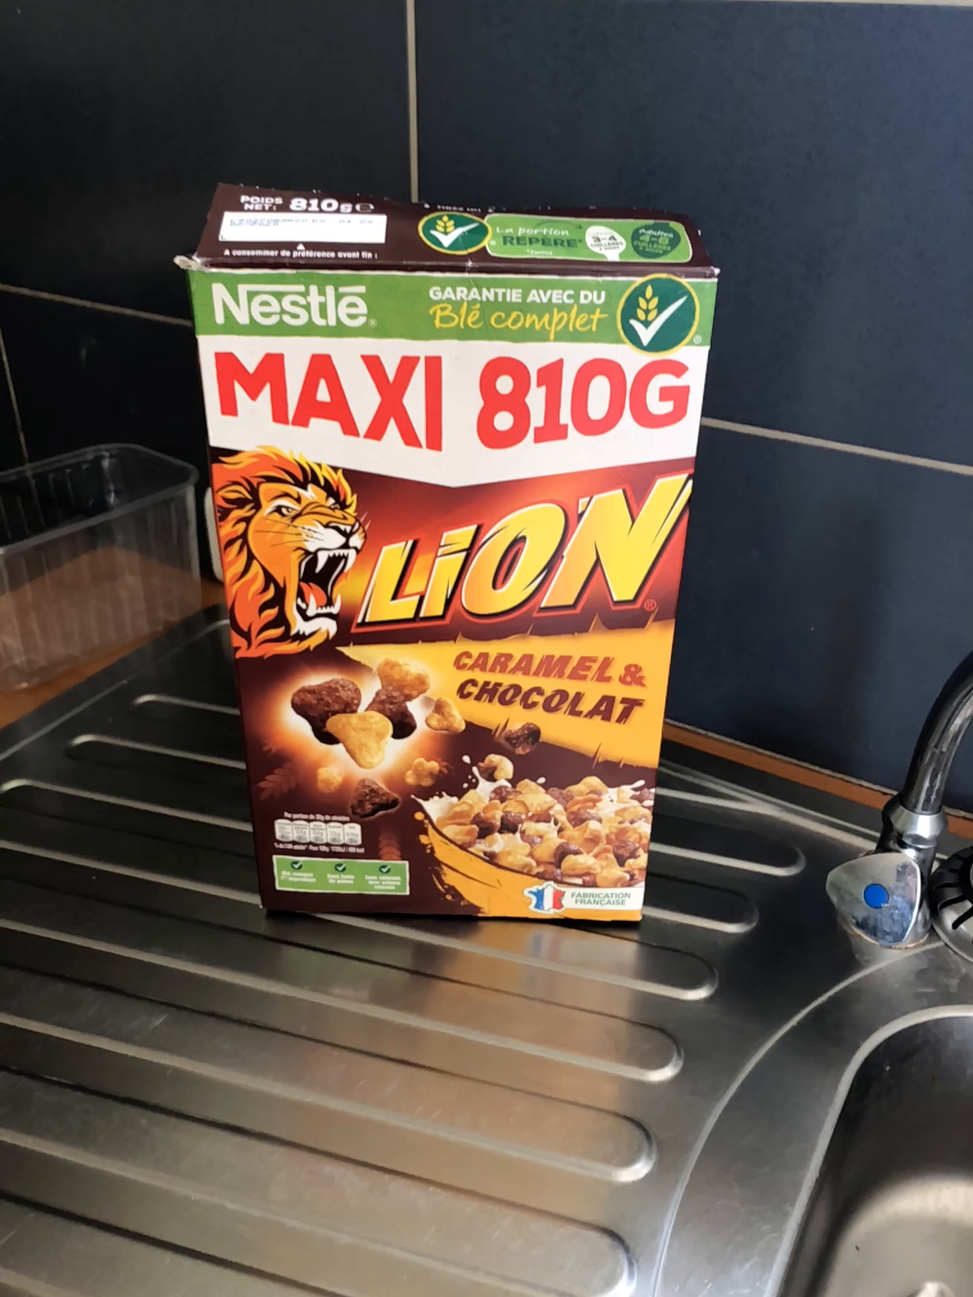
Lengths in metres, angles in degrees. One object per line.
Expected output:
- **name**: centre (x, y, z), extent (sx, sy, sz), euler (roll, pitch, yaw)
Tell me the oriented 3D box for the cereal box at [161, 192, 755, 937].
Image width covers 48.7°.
- **cereal box**: centre (-0.011, -0.022, 0.476), extent (0.200, 0.318, 0.080), euler (2, 31, 2)
